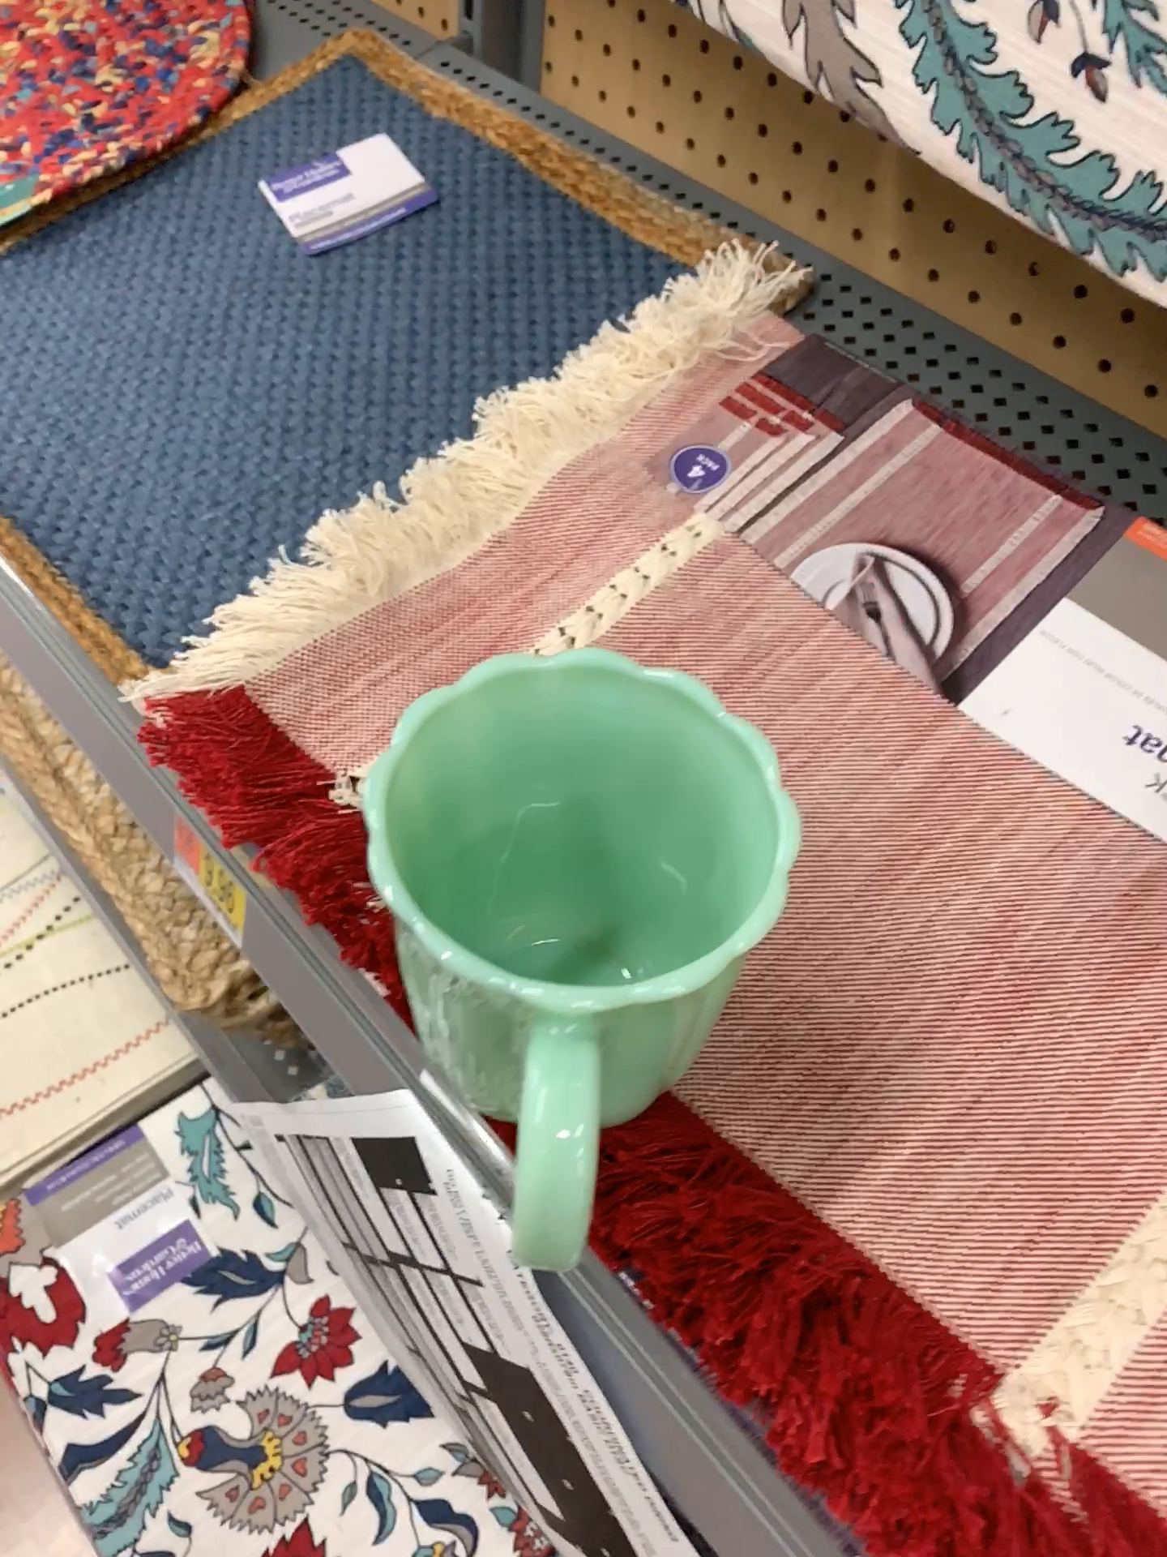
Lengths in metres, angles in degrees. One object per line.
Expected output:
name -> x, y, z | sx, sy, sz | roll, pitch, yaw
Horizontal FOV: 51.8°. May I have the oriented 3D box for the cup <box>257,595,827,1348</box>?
cup -> -0.008, 0.041, 0.266 | 0.090, 0.090, 0.130 | 4, 49, -3
